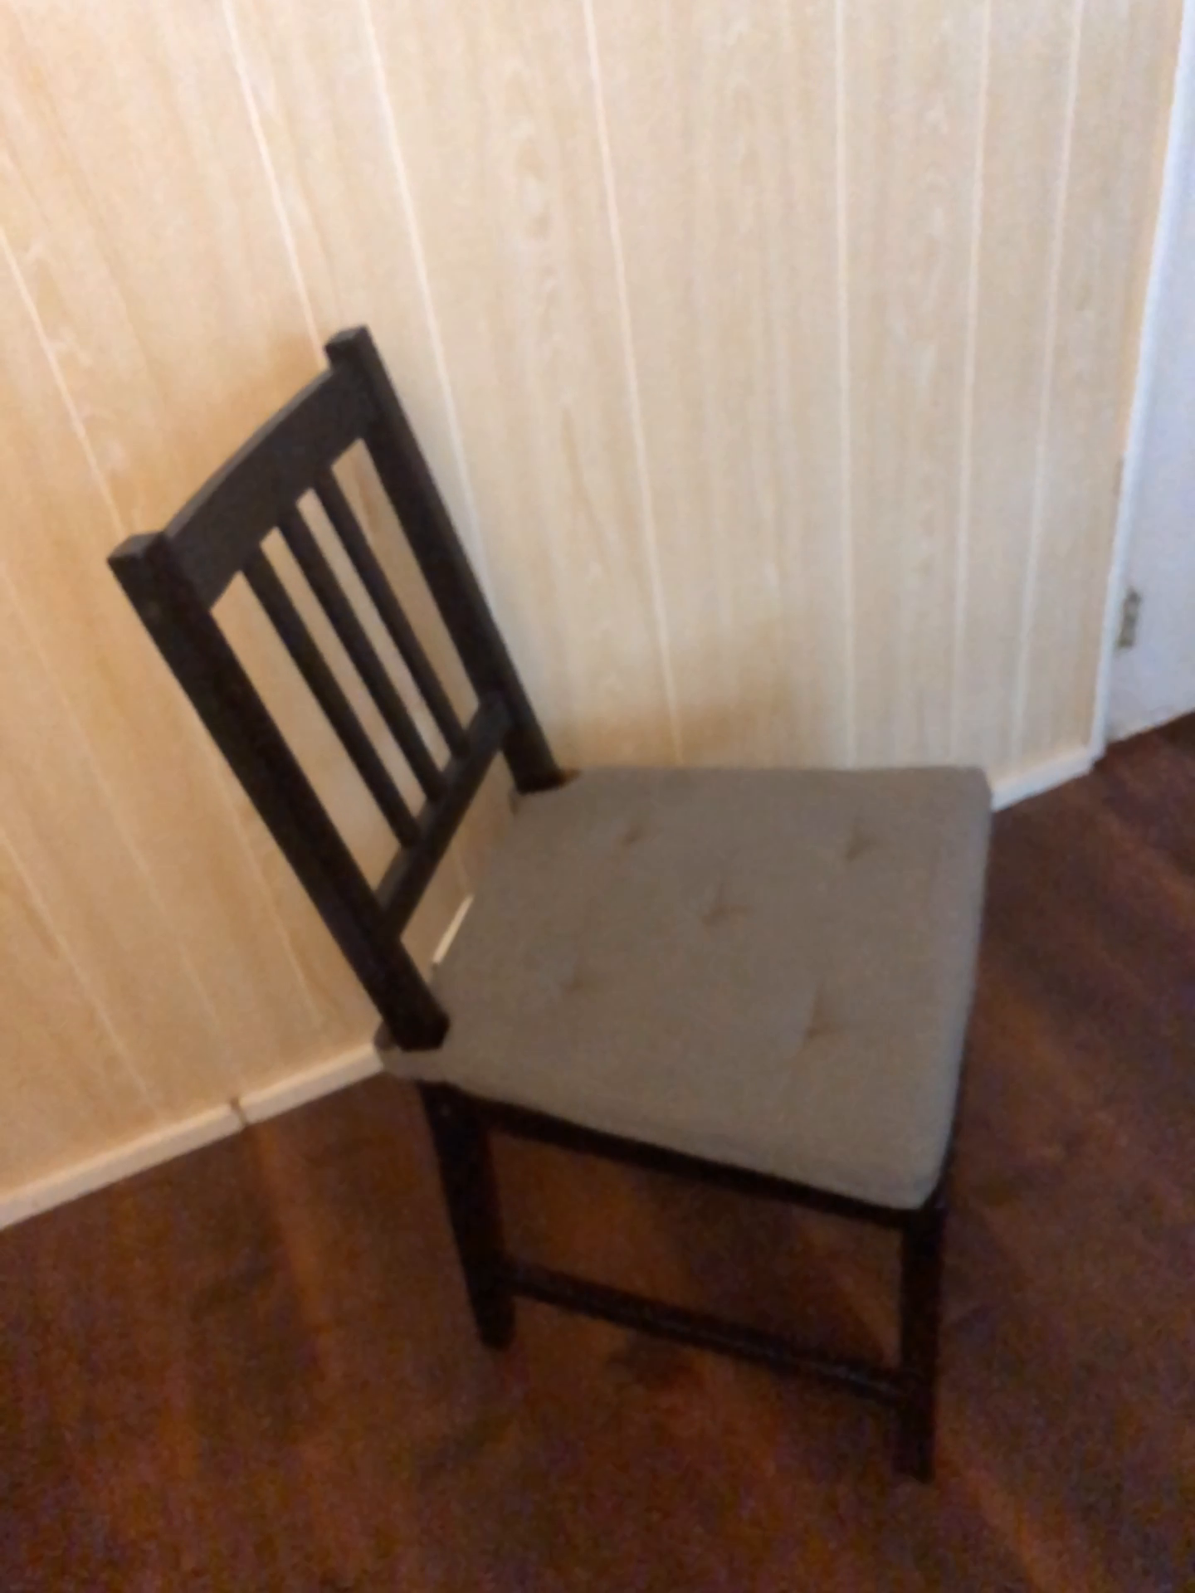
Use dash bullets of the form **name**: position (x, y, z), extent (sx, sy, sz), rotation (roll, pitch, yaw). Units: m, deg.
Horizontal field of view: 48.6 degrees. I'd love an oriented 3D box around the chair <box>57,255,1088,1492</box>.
- **chair**: position (0.071, 0.085, 1.046), extent (0.511, 0.834, 0.443), rotation (5, 41, 16)
